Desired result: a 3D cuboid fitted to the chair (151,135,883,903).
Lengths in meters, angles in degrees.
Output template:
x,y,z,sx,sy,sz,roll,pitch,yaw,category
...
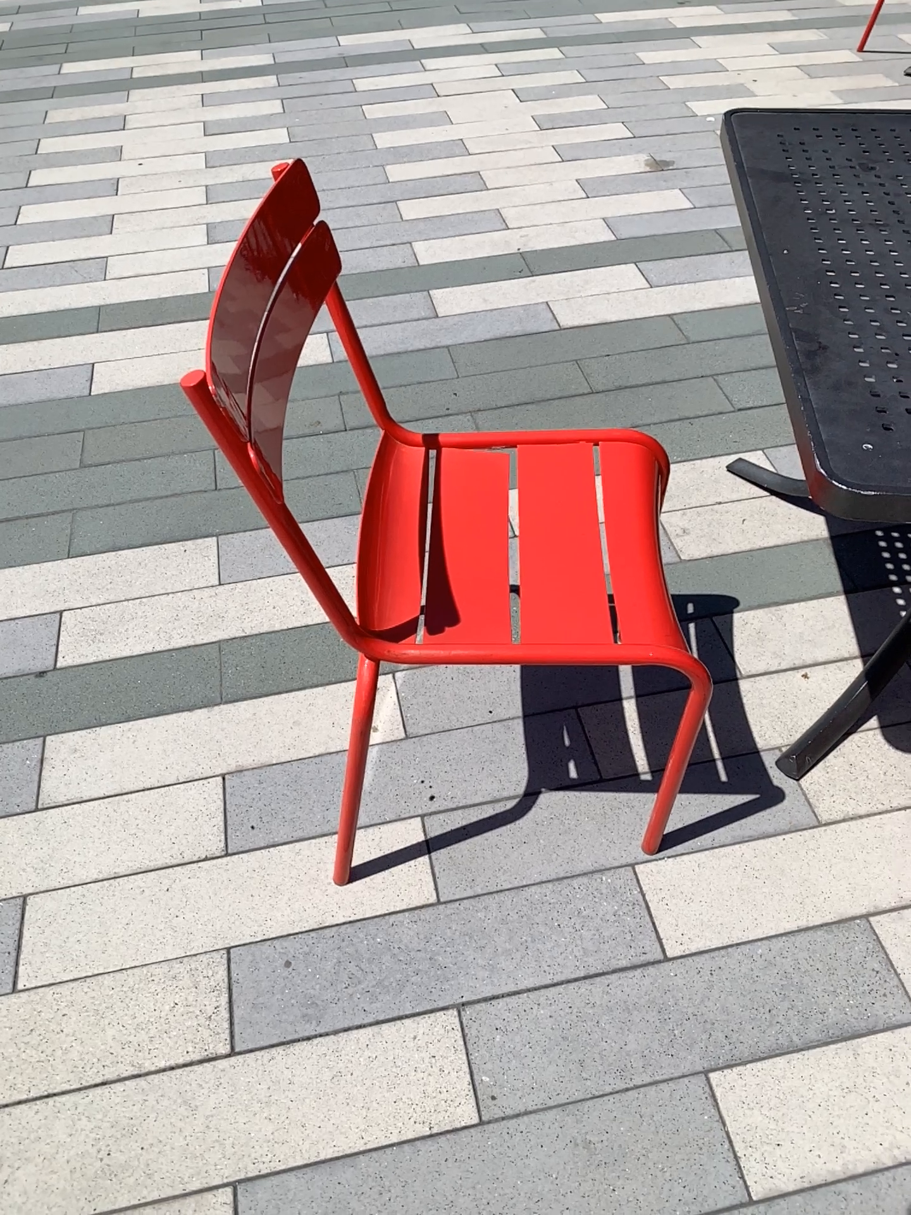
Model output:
x,y,z,sx,sy,sz,roll,pitch,yaw,category
0.055,-0.073,1.246,0.580,0.845,0.583,0,47,1,chair
